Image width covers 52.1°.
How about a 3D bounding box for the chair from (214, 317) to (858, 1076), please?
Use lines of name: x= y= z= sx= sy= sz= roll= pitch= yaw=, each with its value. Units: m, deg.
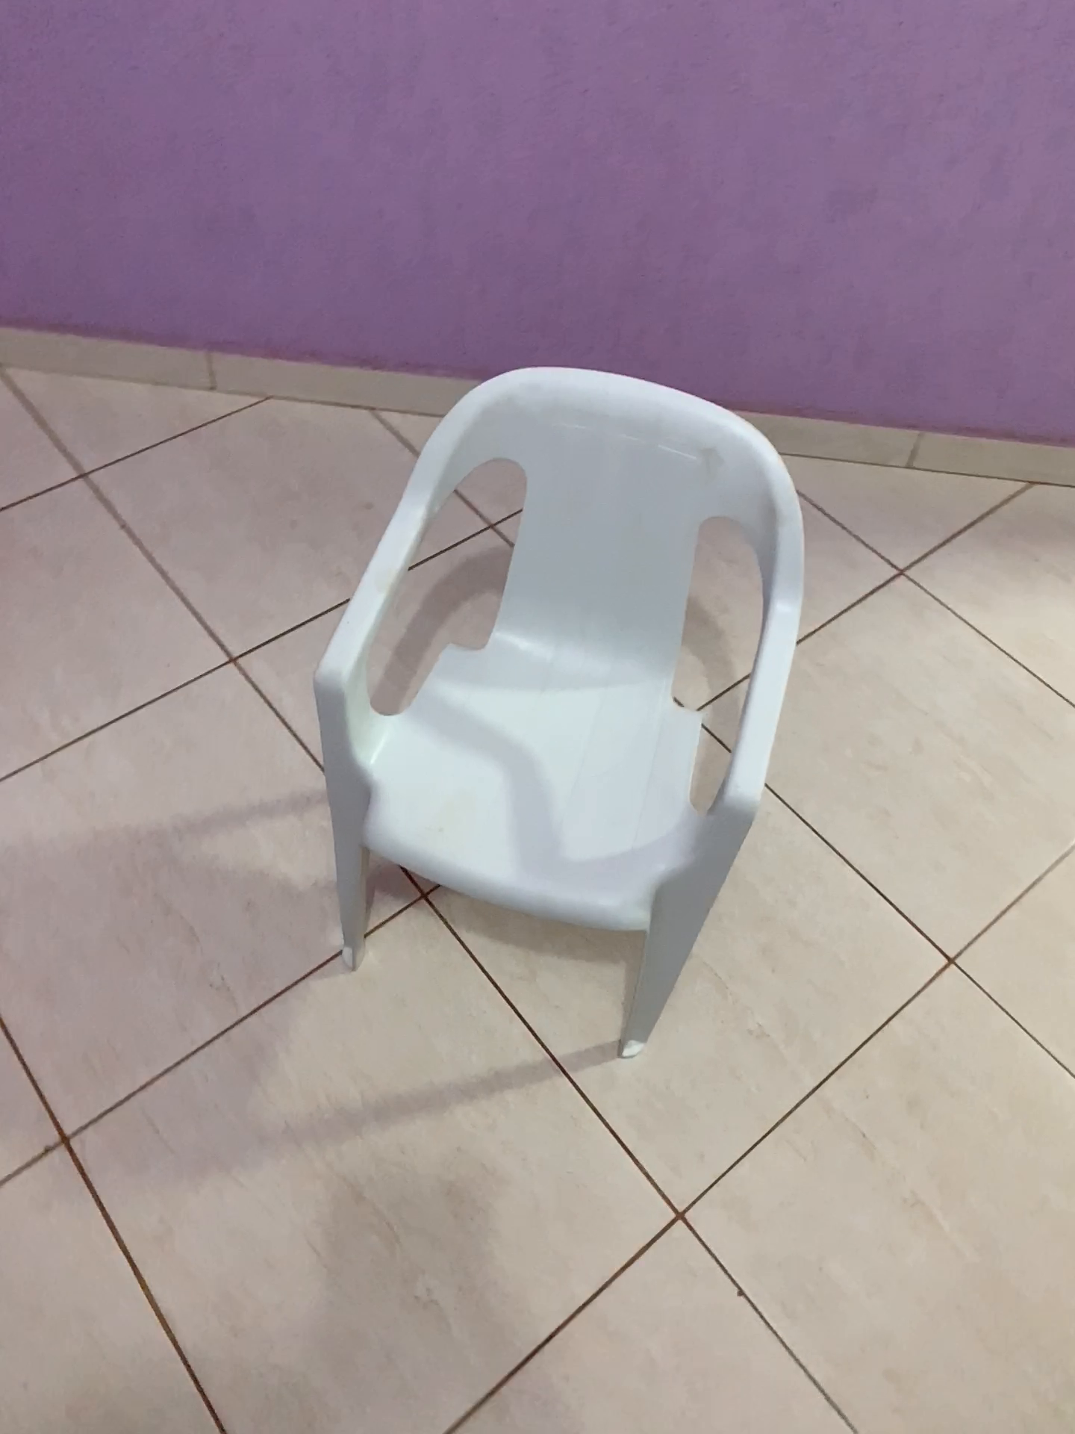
chair: x=0.005 y=0.019 z=1.061 sx=0.400 sy=0.595 sz=0.363 roll=15 pitch=54 yaw=6
